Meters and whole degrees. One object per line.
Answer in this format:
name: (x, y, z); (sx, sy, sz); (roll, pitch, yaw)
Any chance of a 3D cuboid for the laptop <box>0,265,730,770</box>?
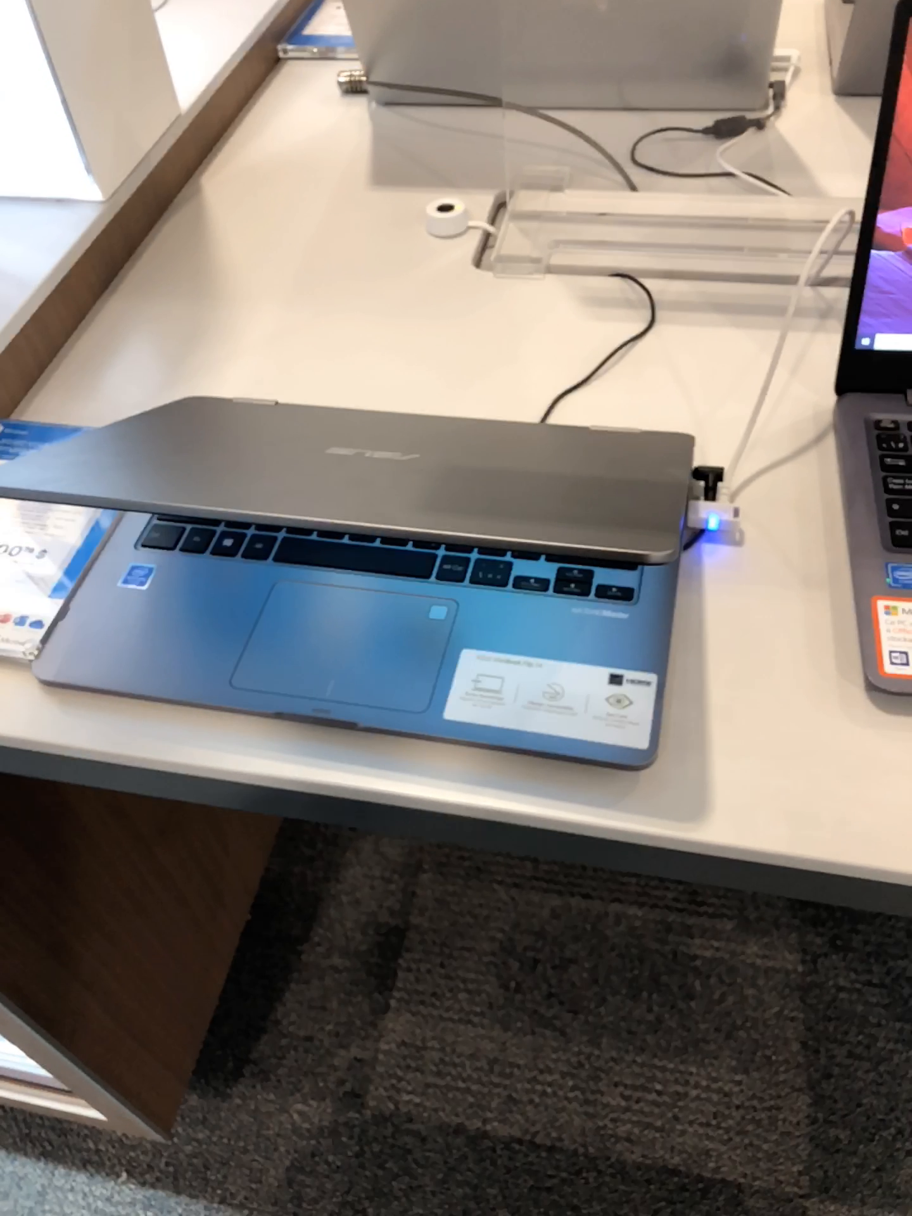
laptop: (-0.040, -0.062, 0.511); (0.321, 0.105, 0.215); (7, 51, 13)
